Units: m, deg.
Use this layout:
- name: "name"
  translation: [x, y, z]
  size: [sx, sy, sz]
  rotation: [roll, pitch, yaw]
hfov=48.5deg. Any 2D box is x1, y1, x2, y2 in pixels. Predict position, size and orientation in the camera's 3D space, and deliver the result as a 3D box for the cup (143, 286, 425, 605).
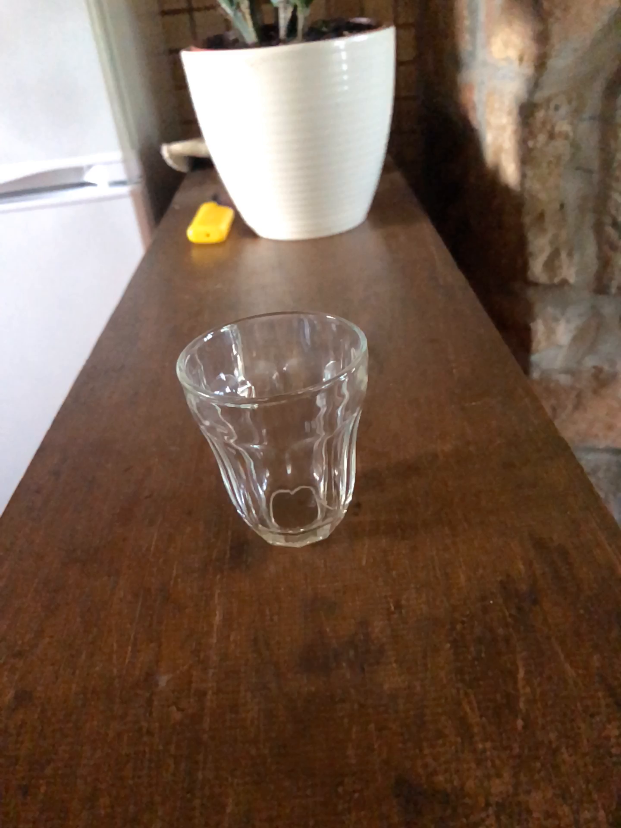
- name: "cup"
  translation: [-0.009, 0.007, 0.273]
  size: [0.070, 0.080, 0.080]
  rotation: [-24, 35, -27]
